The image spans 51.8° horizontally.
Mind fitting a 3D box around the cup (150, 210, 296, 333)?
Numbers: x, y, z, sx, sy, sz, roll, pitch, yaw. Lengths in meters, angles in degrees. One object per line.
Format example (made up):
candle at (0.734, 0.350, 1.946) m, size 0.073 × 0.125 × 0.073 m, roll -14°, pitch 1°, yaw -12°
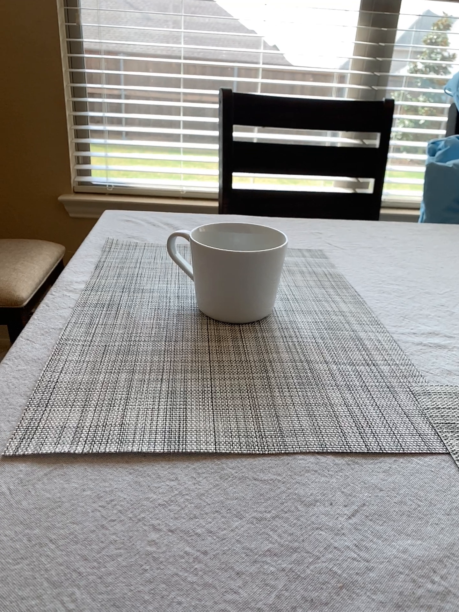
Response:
cup at (-0.005, -0.042, 0.497) m, size 0.121 × 0.081 × 0.100 m, roll 12°, pitch 26°, yaw 17°
